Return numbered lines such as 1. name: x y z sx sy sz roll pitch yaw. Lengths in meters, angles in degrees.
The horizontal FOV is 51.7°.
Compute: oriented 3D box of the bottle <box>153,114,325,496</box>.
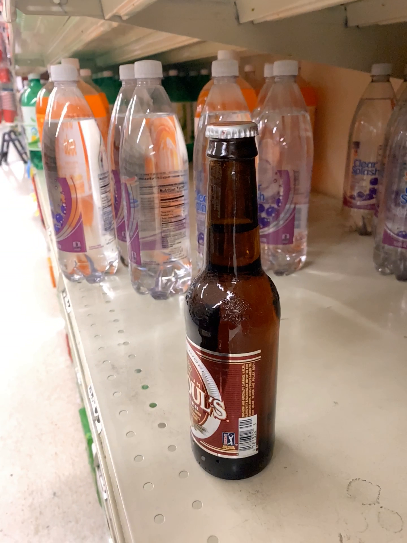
1. bottle: 0.018 0.023 0.260 0.070 0.219 0.070 -2 23 1
